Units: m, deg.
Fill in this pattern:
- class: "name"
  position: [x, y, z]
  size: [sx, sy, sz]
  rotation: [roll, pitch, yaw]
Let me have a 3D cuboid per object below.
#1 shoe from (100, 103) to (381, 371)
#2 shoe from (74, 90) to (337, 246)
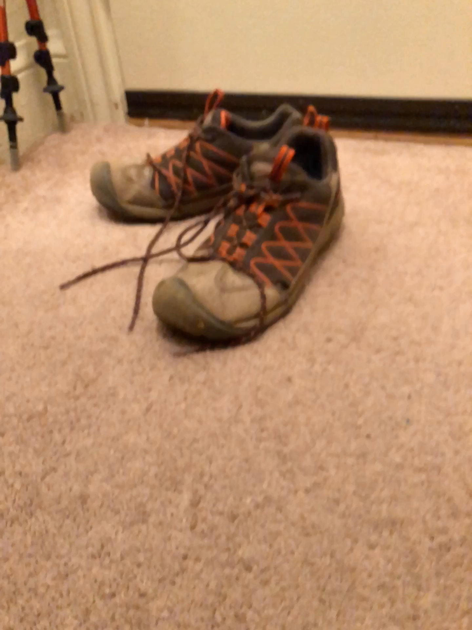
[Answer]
- class: "shoe"
  position: [0.021, -0.095, 0.524]
  size: [0.120, 0.129, 0.271]
  rotation: [24, 47, 30]
- class: "shoe"
  position: [-0.036, -0.194, 0.687]
  size: [0.300, 0.129, 0.121]
  rotation: [-7, 39, -3]
